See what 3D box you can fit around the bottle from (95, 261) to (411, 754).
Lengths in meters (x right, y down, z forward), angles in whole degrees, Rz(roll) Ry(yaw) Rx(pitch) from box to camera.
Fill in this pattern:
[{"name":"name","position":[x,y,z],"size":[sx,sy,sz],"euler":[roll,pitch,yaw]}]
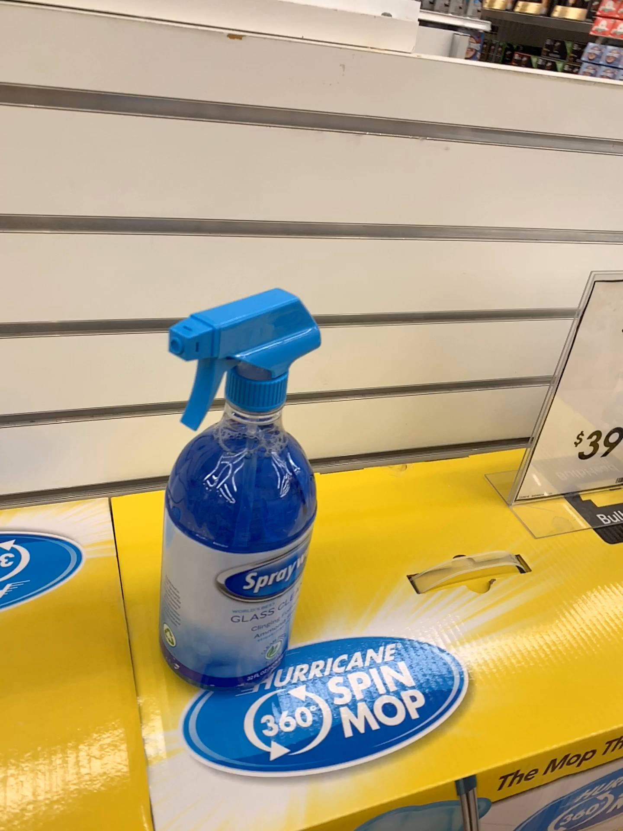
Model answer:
[{"name":"bottle","position":[-0.041,0.053,0.352],"size":[0.110,0.239,0.090],"euler":[-21,43,-38]}]
